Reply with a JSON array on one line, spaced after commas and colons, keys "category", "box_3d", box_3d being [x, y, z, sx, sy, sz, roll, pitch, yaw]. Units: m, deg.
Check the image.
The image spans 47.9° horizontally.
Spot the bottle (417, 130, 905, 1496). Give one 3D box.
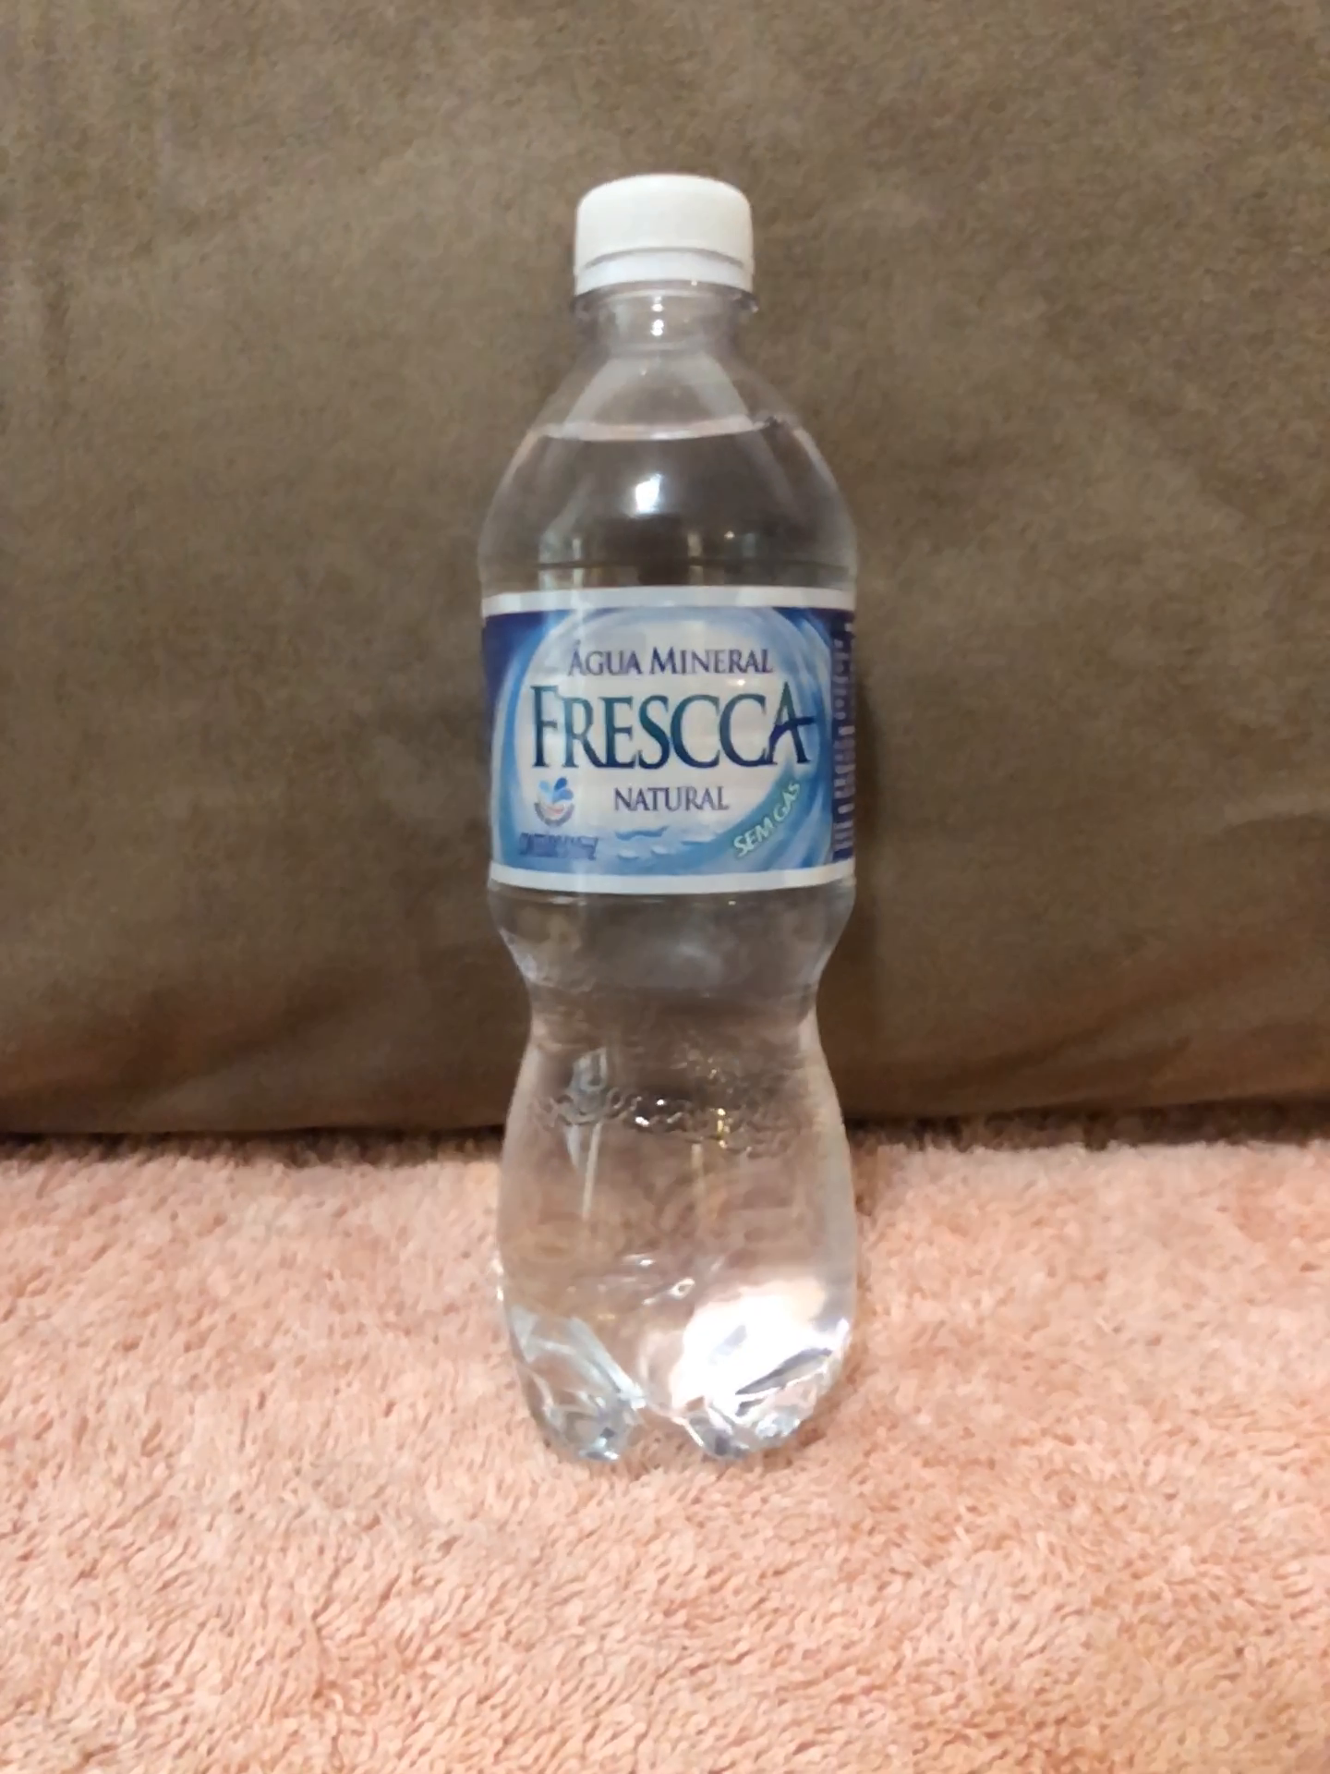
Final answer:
[{"category": "bottle", "box_3d": [0.005, -0.011, 0.272, 0.070, 0.210, 0.080, -1, 8, 6]}]
